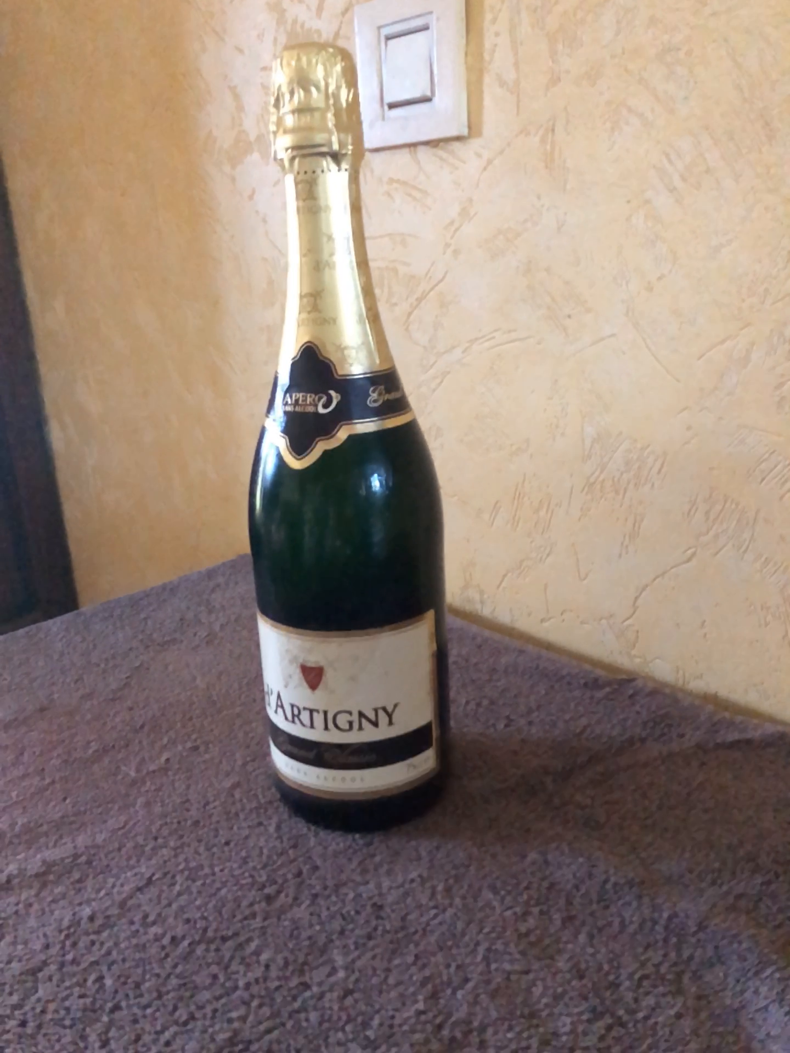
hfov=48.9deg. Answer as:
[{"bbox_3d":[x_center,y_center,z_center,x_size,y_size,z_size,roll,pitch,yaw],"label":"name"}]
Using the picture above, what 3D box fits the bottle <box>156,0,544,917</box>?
[{"bbox_3d":[-0.003,-0.022,0.352,0.100,0.319,0.101,-3,17,1],"label":"bottle"}]
